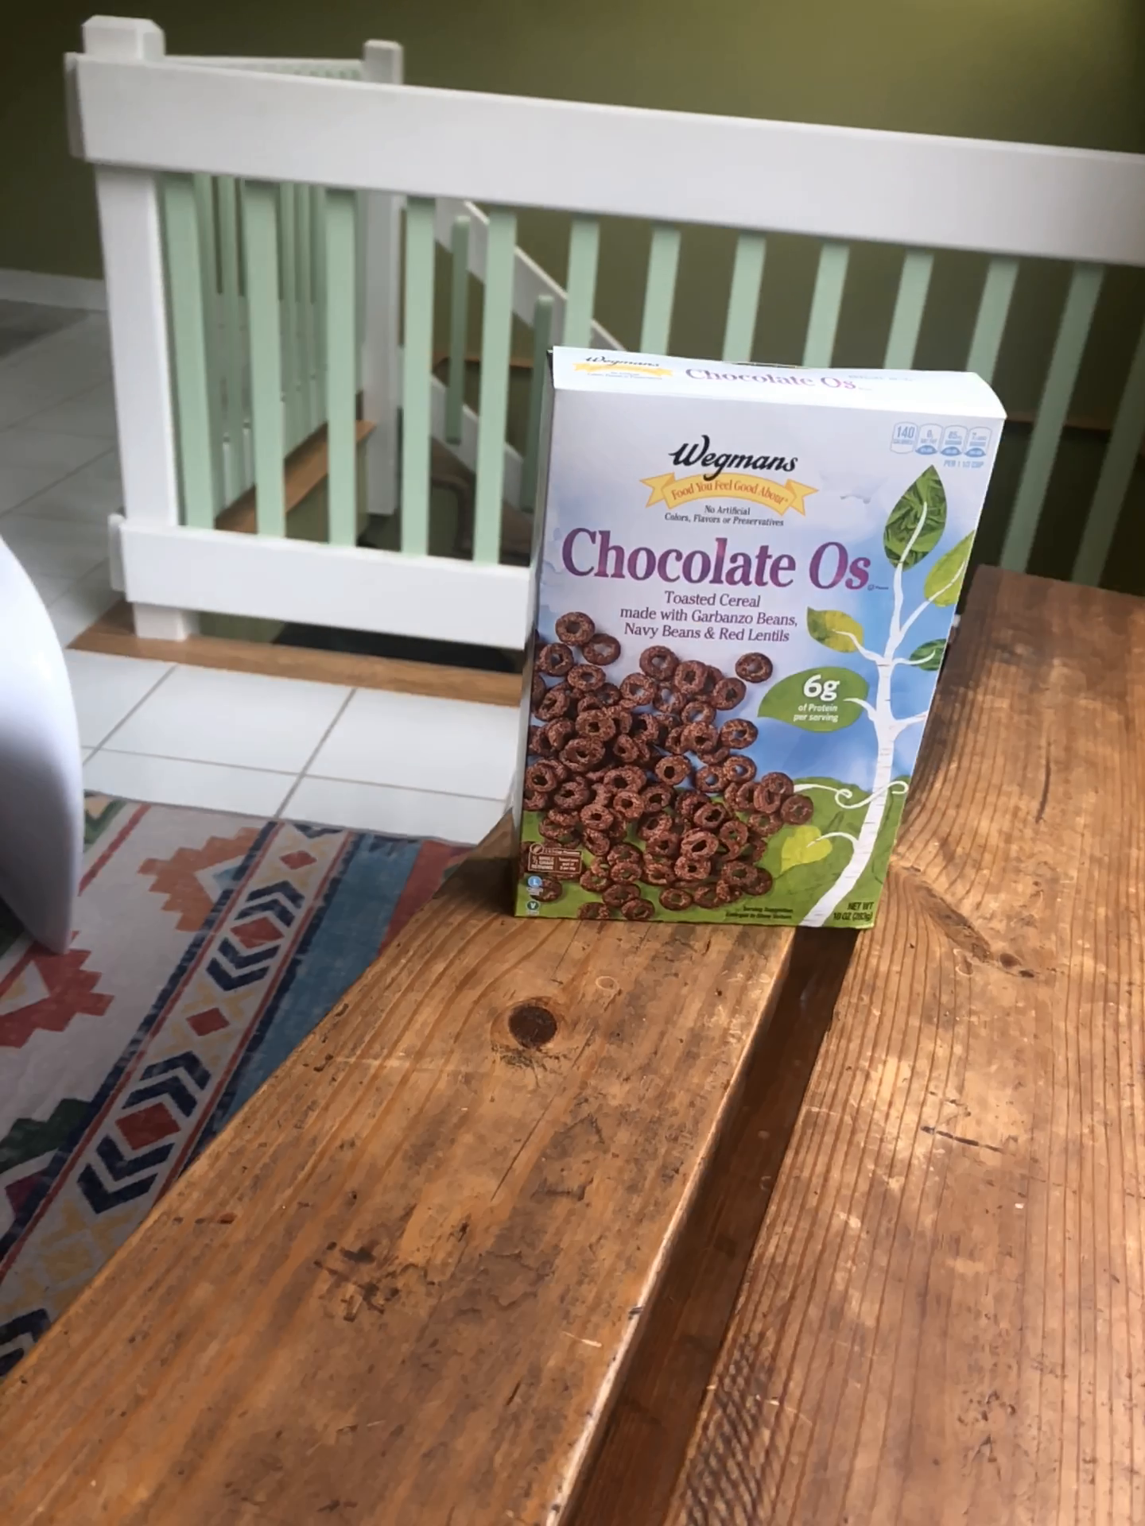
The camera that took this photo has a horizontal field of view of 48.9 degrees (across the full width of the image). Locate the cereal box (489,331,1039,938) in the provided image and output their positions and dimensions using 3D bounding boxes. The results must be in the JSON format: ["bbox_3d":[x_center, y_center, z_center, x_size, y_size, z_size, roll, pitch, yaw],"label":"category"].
[{"bbox_3d":[0.072,-0.048,0.600,0.210,0.278,0.060,2,31,-6],"label":"cereal box"}]
